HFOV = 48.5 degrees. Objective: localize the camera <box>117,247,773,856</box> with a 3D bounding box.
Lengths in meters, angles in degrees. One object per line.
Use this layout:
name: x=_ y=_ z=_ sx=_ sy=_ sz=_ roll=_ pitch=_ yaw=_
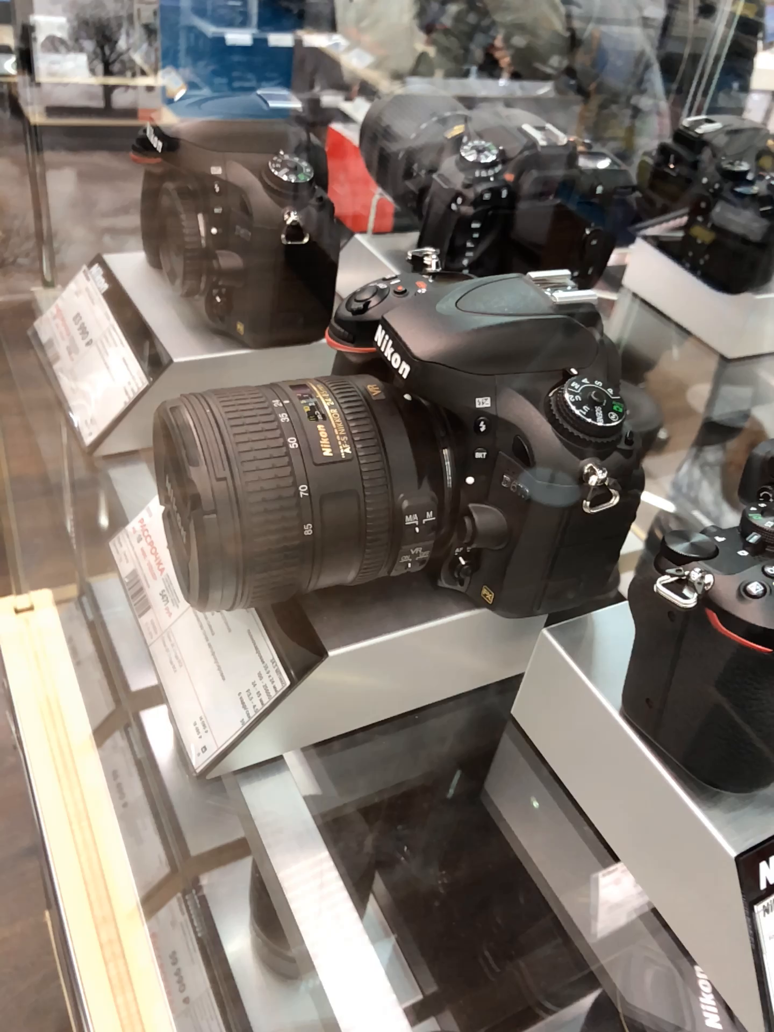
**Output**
camera: x=0.002 y=-0.004 z=0.281 sx=0.150 sy=0.109 sz=0.148 roll=-7 pitch=42 yaw=-22
